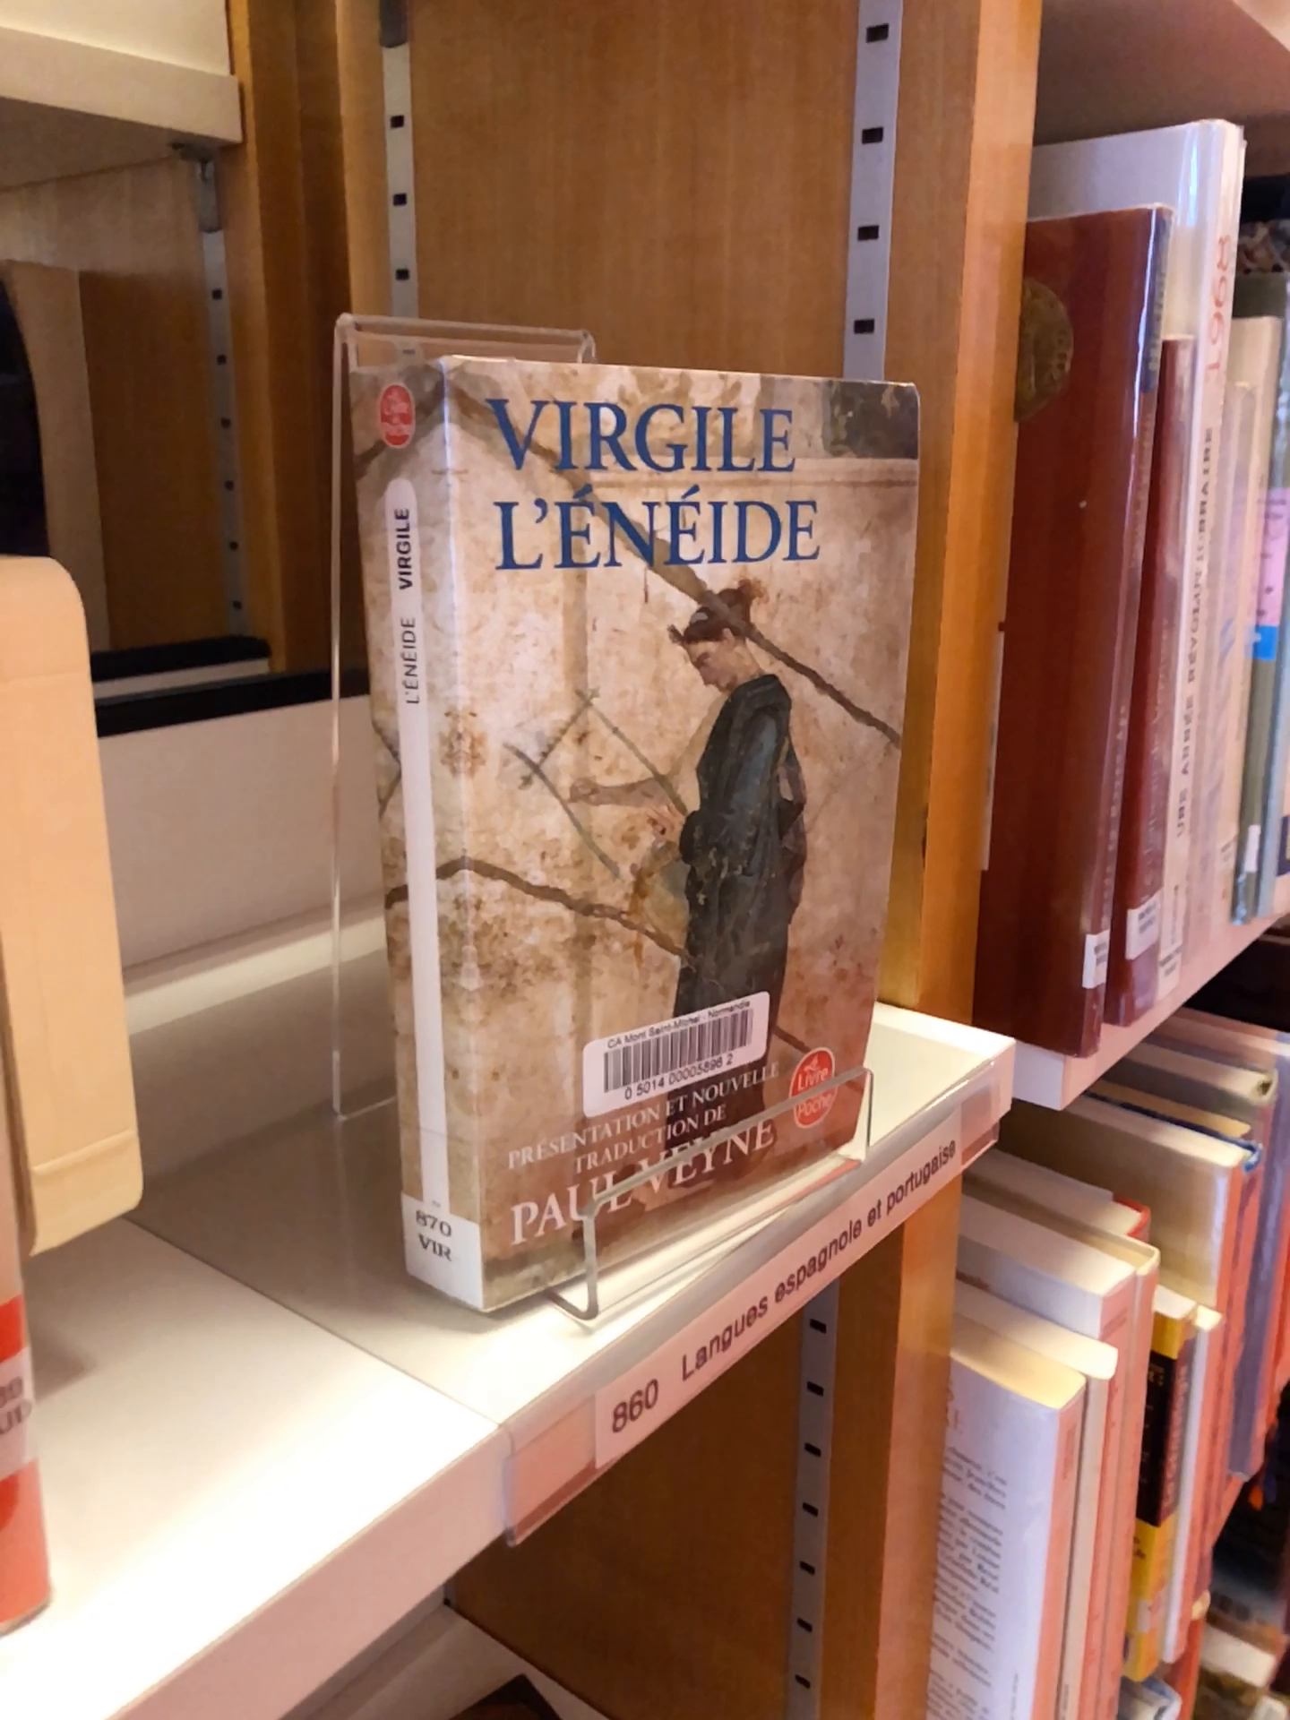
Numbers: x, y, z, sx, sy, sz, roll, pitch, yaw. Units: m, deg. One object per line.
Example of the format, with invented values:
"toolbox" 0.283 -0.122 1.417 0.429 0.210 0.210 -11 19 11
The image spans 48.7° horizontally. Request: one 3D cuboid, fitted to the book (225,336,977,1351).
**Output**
"book" -0.004 -0.014 0.299 0.132 0.168 0.073 -14 20 -42
